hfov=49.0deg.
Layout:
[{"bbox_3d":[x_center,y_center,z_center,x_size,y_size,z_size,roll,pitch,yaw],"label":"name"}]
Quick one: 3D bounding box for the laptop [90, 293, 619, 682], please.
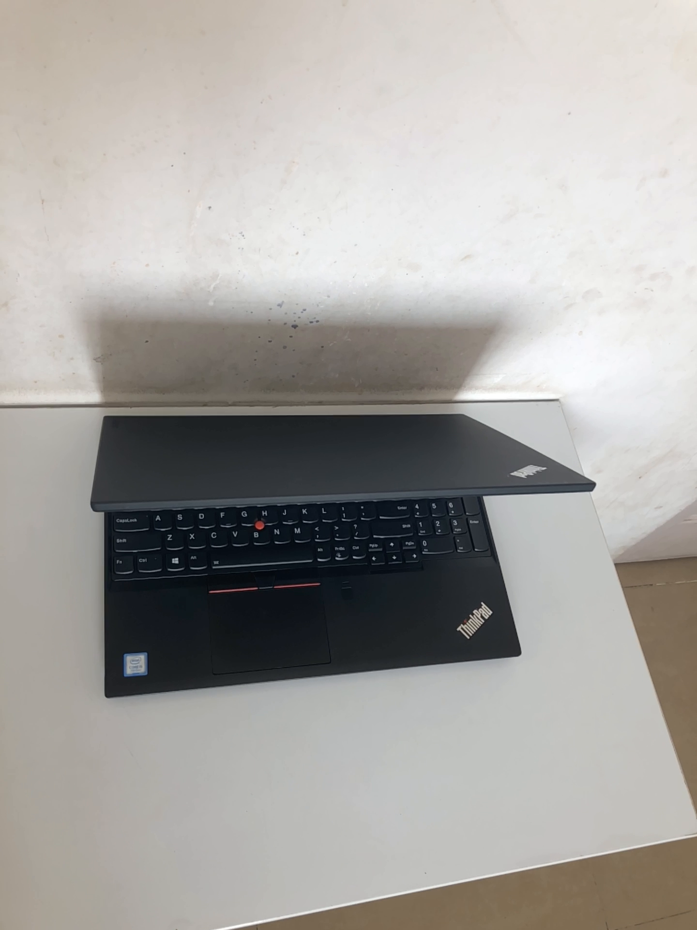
[{"bbox_3d":[-0.018,0.020,0.611,0.347,0.173,0.234,-1,63,-15],"label":"laptop"}]
